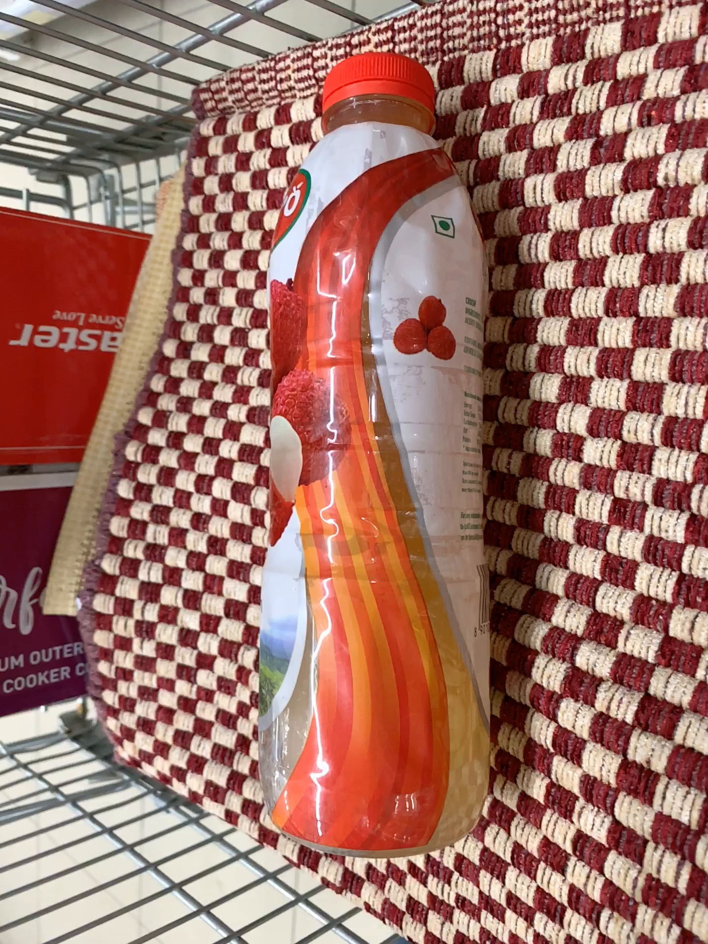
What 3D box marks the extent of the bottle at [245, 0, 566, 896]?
[{"bbox_3d":[0.014,-0.010,0.226,0.080,0.070,0.240,-1,90,2],"label":"bottle"}]
